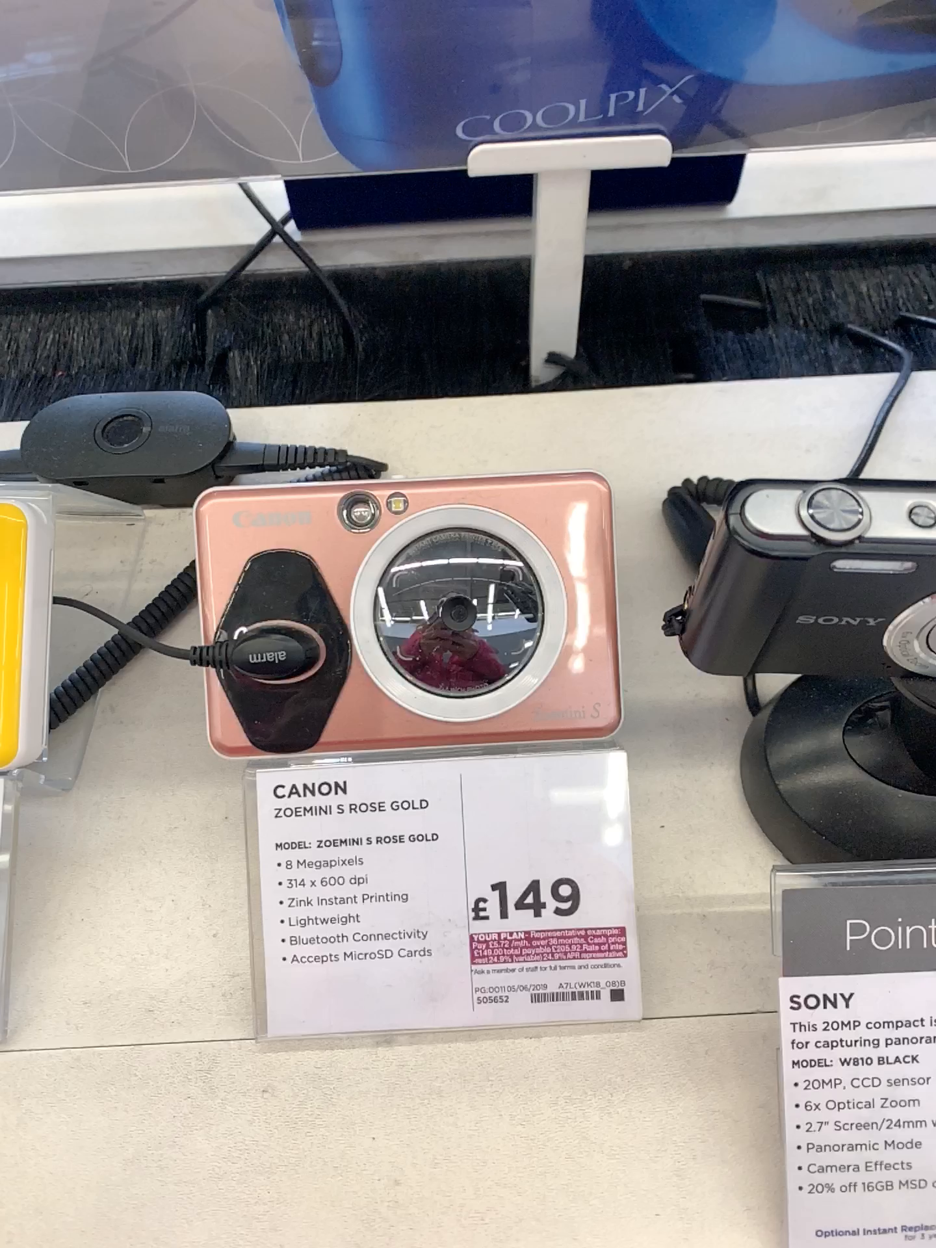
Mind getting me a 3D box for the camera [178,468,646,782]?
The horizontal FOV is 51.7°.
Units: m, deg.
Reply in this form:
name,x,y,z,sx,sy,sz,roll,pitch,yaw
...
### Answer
name,x,y,z,sx,sy,sz,roll,pitch,yaw
camera,-0.016,0.000,0.284,0.129,0.020,0.083,-3,92,0
